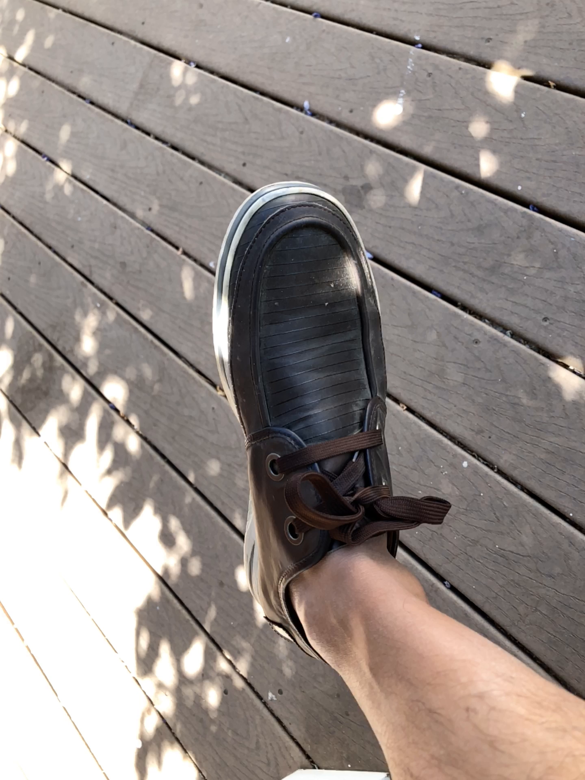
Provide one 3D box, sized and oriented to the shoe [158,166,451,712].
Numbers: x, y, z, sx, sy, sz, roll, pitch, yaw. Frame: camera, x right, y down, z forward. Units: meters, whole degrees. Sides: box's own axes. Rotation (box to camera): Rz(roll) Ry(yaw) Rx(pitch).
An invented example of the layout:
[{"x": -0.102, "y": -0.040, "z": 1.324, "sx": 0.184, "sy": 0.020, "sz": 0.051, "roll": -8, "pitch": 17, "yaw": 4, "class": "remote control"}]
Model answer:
[{"x": 0.012, "y": 0.032, "z": 0.359, "sx": 0.092, "sy": 0.102, "sz": 0.275, "roll": 42, "pitch": 143, "yaw": 53, "class": "shoe"}]
